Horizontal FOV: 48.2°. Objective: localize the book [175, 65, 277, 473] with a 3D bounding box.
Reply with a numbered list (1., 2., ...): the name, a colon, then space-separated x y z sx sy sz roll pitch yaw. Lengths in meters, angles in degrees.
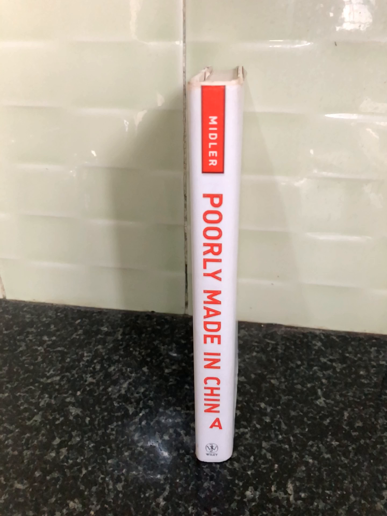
1. book: 0.022 -0.011 0.302 0.040 0.219 0.191 3 26 5
